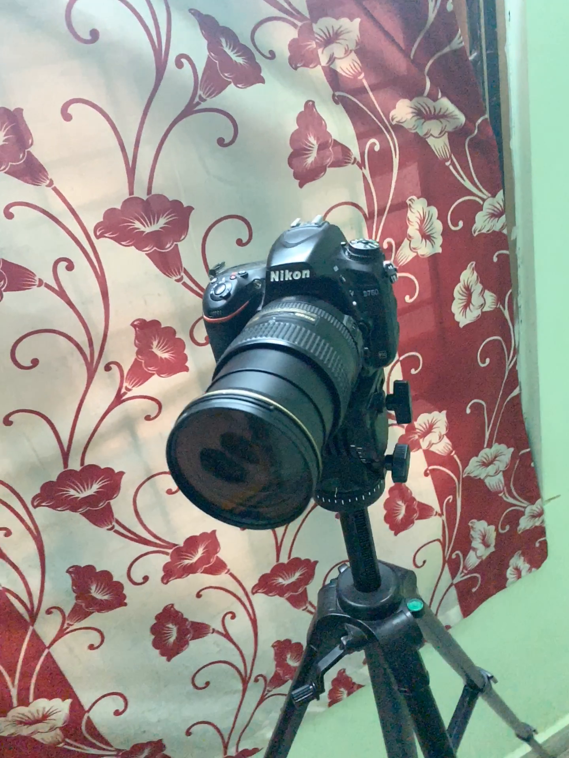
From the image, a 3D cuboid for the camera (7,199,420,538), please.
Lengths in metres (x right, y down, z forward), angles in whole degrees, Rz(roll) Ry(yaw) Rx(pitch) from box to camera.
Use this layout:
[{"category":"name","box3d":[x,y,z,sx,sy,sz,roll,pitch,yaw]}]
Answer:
[{"category":"camera","box3d":[-0.017,-0.013,0.347,0.172,0.122,0.171,-5,27,18]}]
